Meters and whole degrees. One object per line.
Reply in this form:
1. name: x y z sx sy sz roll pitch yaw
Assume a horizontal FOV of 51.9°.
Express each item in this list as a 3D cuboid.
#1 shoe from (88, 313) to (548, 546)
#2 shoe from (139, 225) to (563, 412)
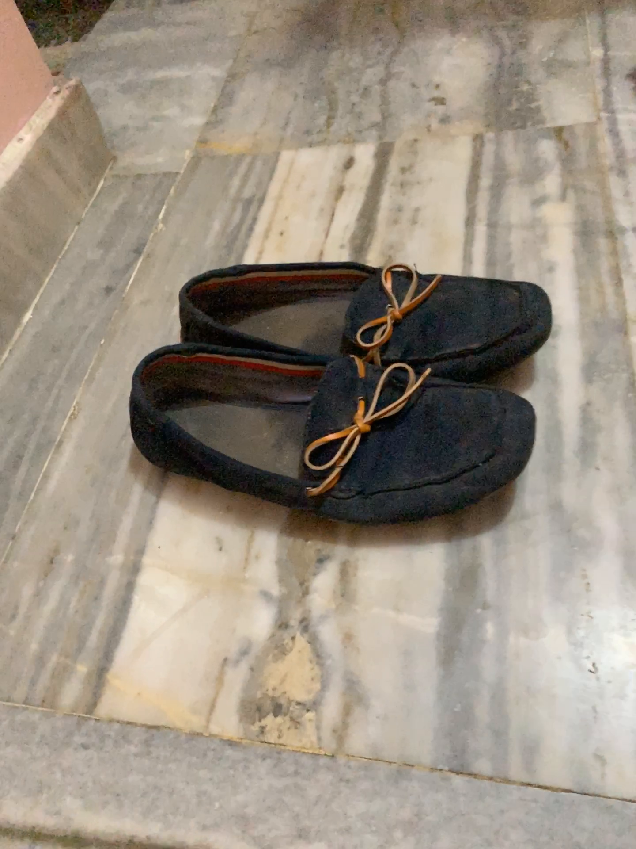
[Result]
1. shoe: 0.004 -0.005 0.446 0.281 0.070 0.120 4 55 17
2. shoe: 0.027 -0.082 0.513 0.301 0.070 0.120 2 54 15
